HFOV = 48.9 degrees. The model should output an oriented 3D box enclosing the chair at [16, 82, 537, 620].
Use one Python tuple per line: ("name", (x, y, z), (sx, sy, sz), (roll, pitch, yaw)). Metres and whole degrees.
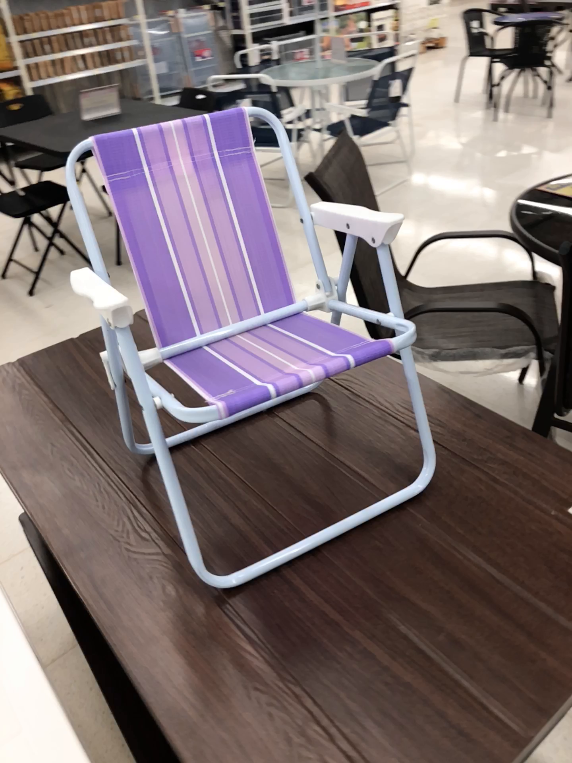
("chair", (-0.020, -0.082, 0.787), (0.421, 0.437, 0.392), (-21, 37, -21))
